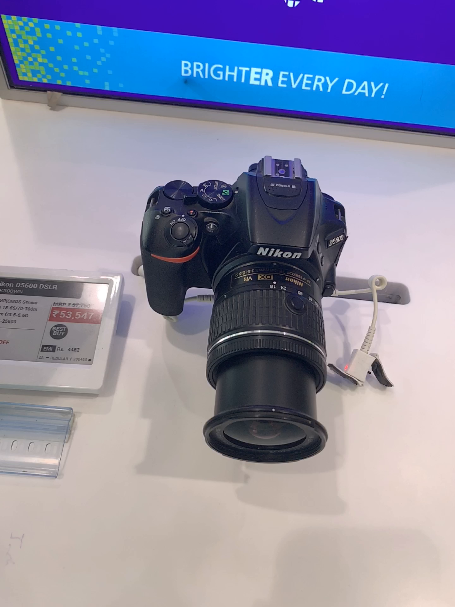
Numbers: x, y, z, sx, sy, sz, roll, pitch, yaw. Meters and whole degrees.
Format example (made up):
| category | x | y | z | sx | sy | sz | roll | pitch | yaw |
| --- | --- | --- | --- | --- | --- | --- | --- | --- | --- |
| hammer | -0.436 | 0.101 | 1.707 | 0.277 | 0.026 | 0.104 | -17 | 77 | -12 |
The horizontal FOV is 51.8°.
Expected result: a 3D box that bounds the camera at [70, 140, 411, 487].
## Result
| category | x | y | z | sx | sy | sz | roll | pitch | yaw |
| --- | --- | --- | --- | --- | --- | --- | --- | --- | --- |
| camera | 0.005 | 0.004 | 0.242 | 0.116 | 0.100 | 0.141 | 3 | 52 | -1 |
